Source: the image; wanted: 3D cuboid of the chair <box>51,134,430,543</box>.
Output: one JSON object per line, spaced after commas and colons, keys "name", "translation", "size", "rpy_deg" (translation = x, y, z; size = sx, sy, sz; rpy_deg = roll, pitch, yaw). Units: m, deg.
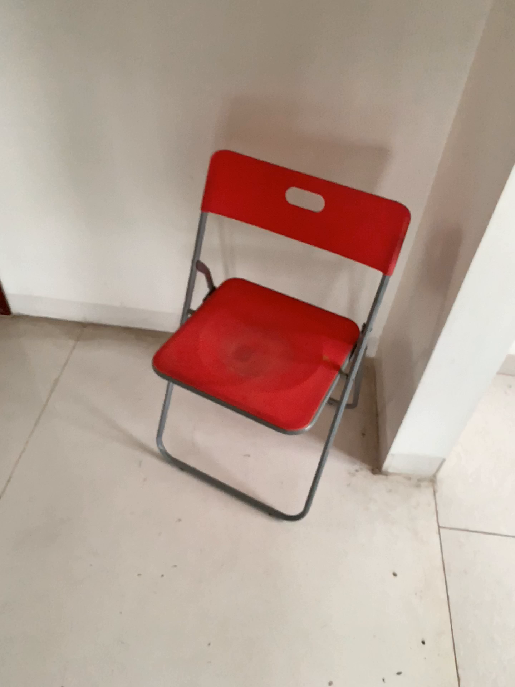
{"name": "chair", "translation": [-0.019, -0.015, 1.199], "size": [0.530, 0.608, 0.501], "rpy_deg": [22, 49, 16]}
